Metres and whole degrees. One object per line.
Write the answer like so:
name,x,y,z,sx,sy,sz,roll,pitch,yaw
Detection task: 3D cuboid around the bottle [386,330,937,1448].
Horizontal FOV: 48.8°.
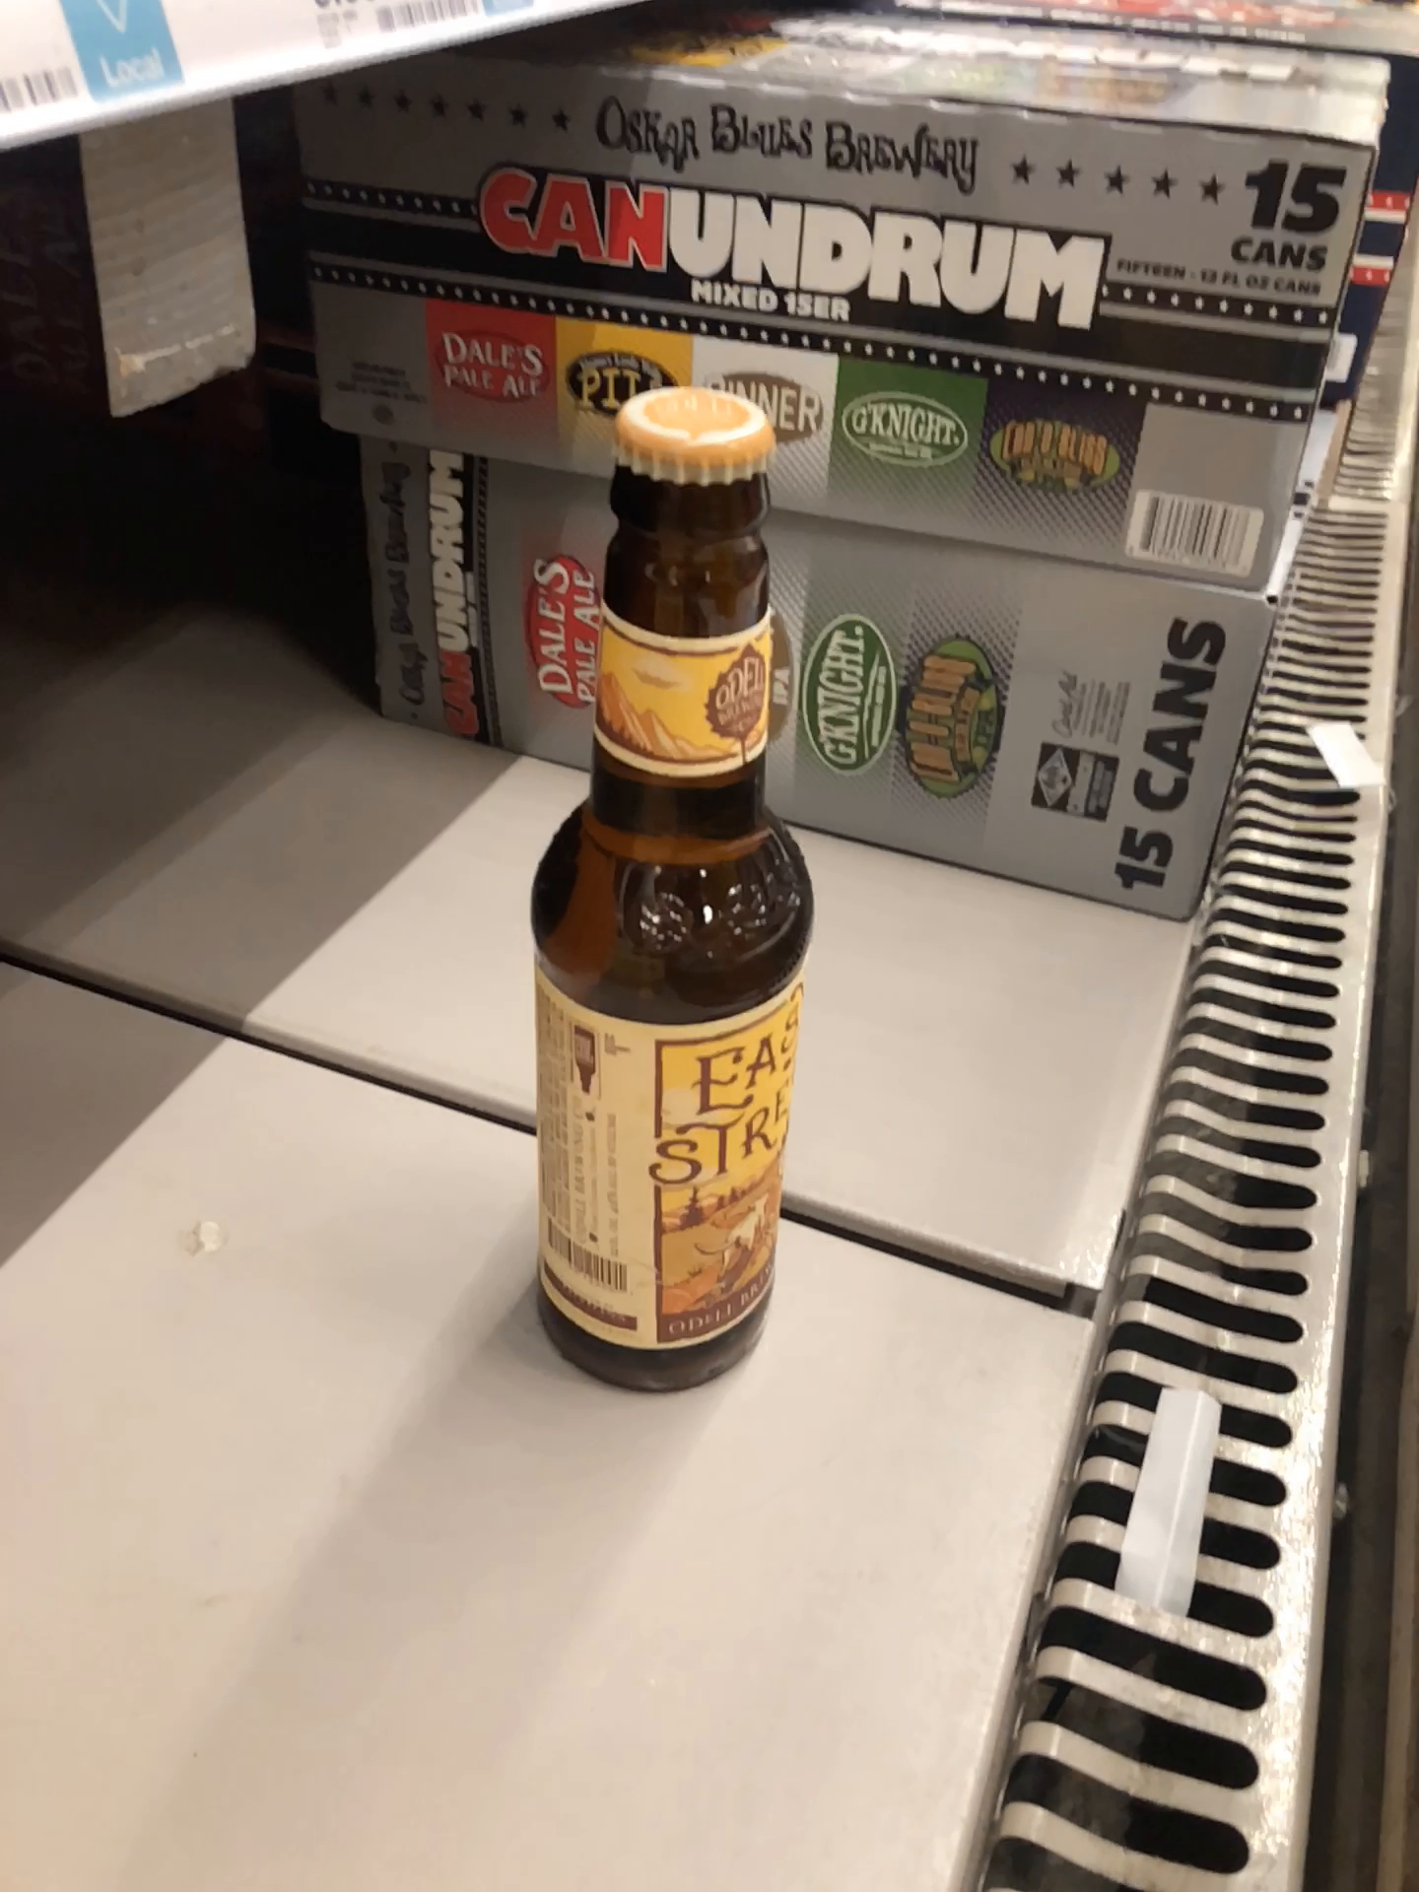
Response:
bottle,-0.013,-0.001,0.340,0.070,0.229,0.066,2,37,-2
